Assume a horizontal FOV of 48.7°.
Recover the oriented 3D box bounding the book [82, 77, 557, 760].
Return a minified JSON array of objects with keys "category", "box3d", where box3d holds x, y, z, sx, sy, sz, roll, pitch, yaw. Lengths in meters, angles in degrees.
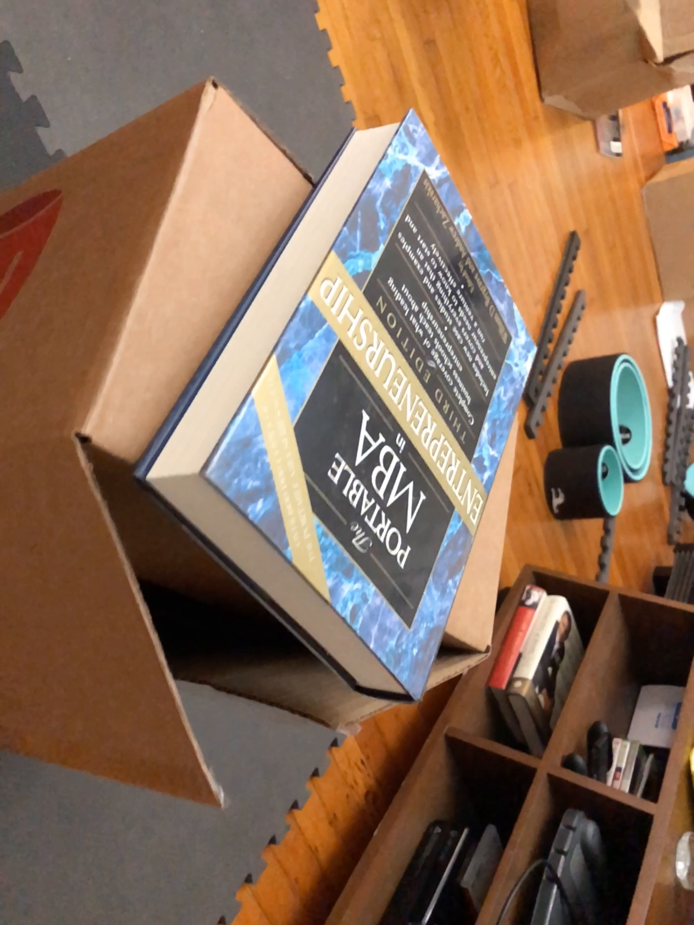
[{"category":"book","box3d":[0.023,-0.025,0.397,0.210,0.060,0.271,52,46,-36]}]
